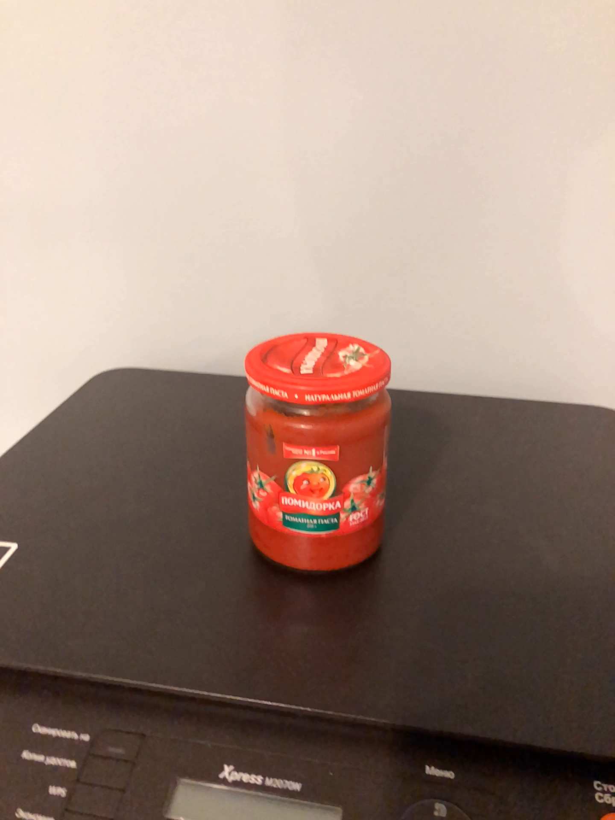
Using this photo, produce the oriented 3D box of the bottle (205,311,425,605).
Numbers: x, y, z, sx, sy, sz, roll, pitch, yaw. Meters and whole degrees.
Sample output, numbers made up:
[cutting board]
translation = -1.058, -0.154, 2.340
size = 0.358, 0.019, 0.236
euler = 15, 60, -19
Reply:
[bottle]
translation = 0.005, 0.020, 0.335
size = 0.080, 0.109, 0.070
euler = 11, 28, 20
